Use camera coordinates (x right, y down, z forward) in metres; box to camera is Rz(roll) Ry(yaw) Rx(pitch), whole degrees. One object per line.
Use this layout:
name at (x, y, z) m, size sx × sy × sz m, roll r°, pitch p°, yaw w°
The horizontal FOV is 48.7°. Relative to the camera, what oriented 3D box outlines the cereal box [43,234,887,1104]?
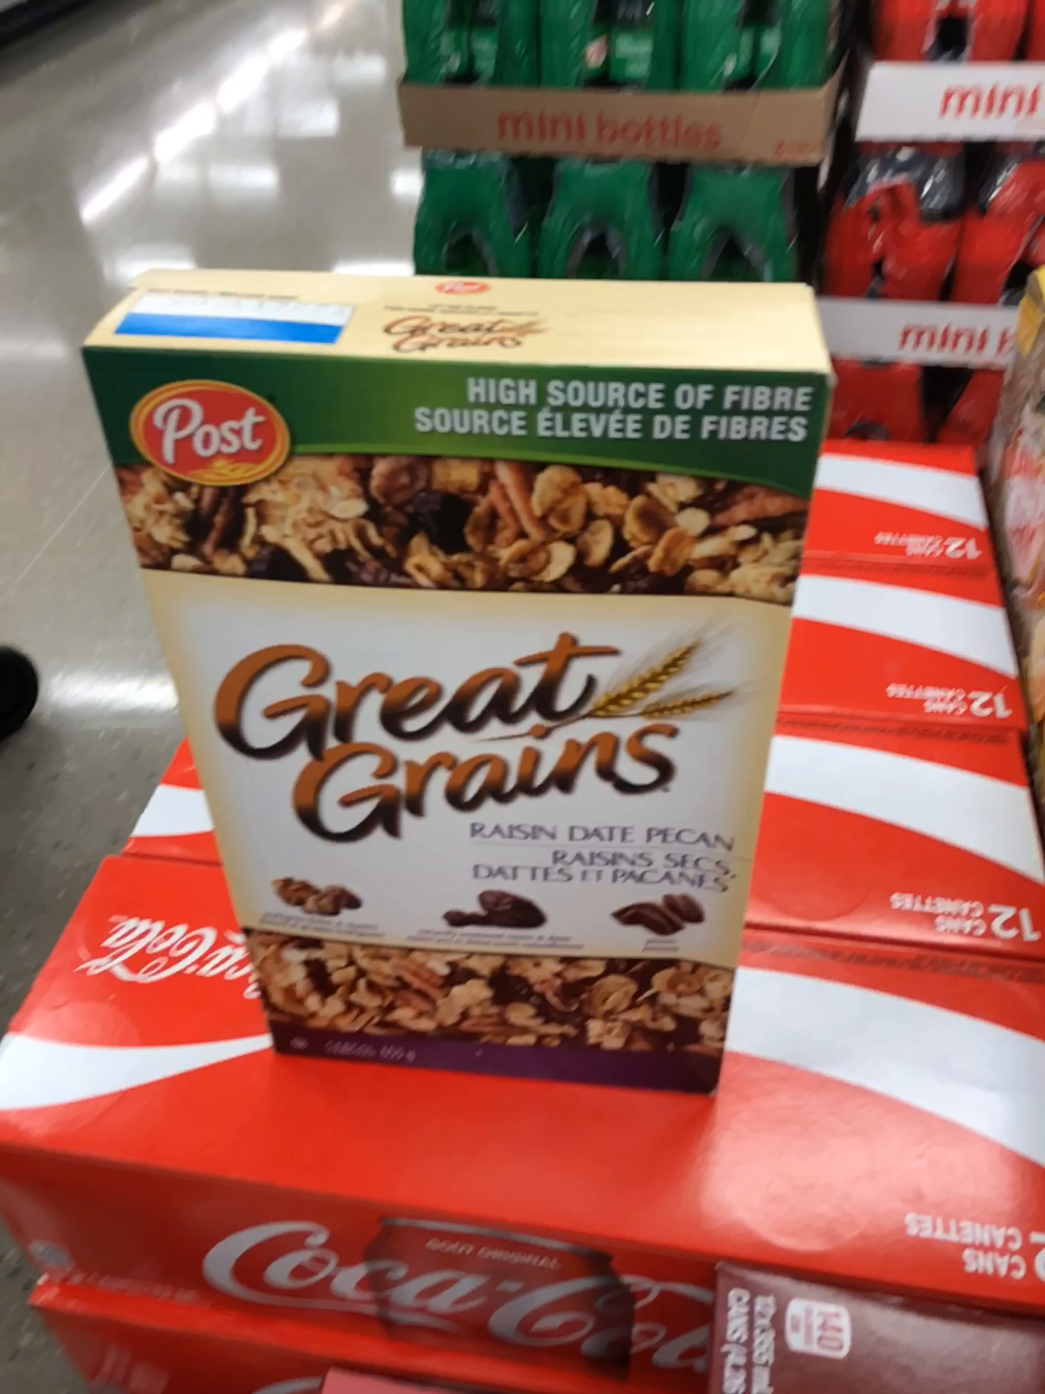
cereal box at (-0.007, 0.013, 0.334) m, size 0.170 × 0.269 × 0.050 m, roll 4°, pitch 41°, yaw 8°
